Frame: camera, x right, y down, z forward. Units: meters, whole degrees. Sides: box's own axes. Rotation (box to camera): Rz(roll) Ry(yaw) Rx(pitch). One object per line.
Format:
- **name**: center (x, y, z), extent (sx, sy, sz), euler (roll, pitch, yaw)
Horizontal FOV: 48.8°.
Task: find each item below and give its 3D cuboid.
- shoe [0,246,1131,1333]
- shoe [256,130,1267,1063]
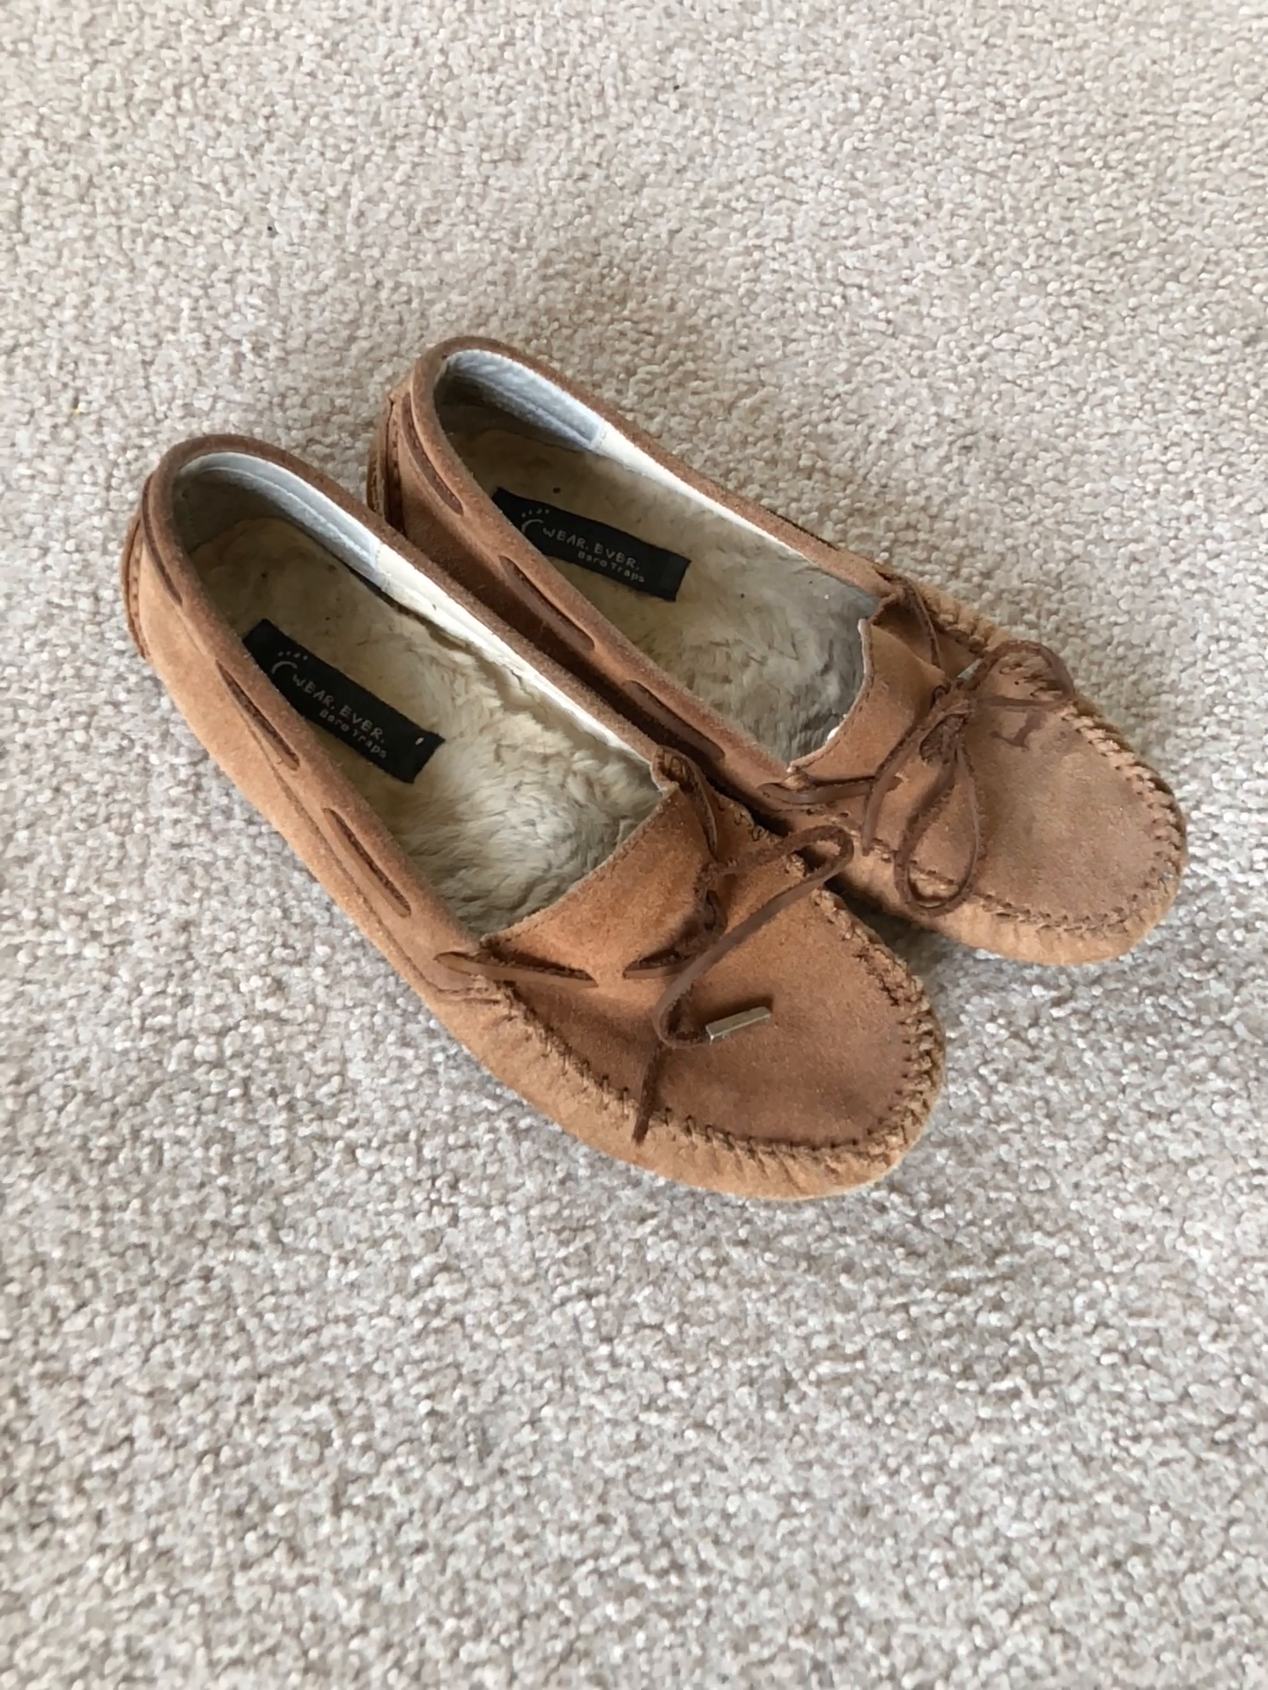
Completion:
- **shoe**: center (-0.028, -0.014, 0.344), extent (0.270, 0.068, 0.105), euler (40, 68, 5)
- **shoe**: center (0.044, -0.065, 0.376), extent (0.274, 0.068, 0.098), euler (34, 68, 3)
